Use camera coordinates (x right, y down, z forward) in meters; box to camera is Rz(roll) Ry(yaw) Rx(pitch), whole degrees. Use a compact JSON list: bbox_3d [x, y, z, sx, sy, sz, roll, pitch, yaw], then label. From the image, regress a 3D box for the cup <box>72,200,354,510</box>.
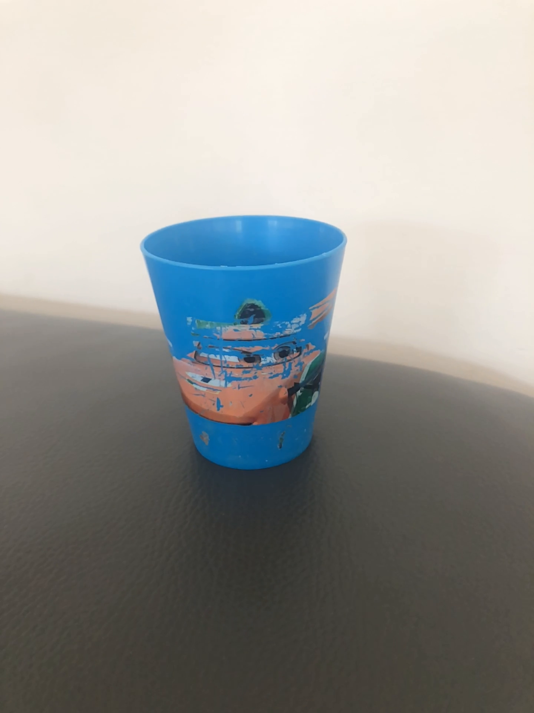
[{"bbox_3d":[-0.014,-0.007,0.242,0.080,0.090,0.081,-1,27,0],"label":"cup"}]
